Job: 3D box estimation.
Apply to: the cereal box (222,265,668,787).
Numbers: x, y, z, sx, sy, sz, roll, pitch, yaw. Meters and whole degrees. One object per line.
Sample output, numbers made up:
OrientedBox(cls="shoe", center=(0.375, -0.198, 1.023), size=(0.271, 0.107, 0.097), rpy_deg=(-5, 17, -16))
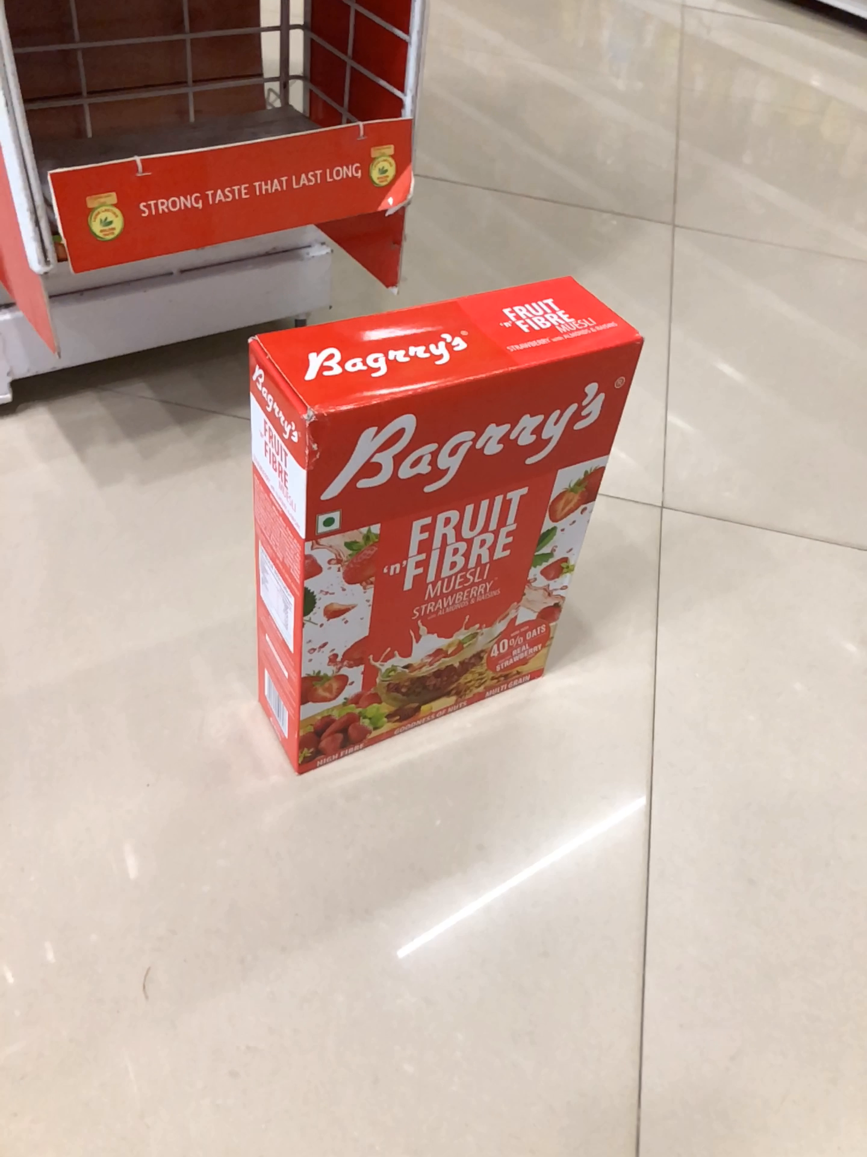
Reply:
OrientedBox(cls="cereal box", center=(-0.003, -0.022, 0.531), size=(0.201, 0.258, 0.070), rpy_deg=(-19, 50, -25))
